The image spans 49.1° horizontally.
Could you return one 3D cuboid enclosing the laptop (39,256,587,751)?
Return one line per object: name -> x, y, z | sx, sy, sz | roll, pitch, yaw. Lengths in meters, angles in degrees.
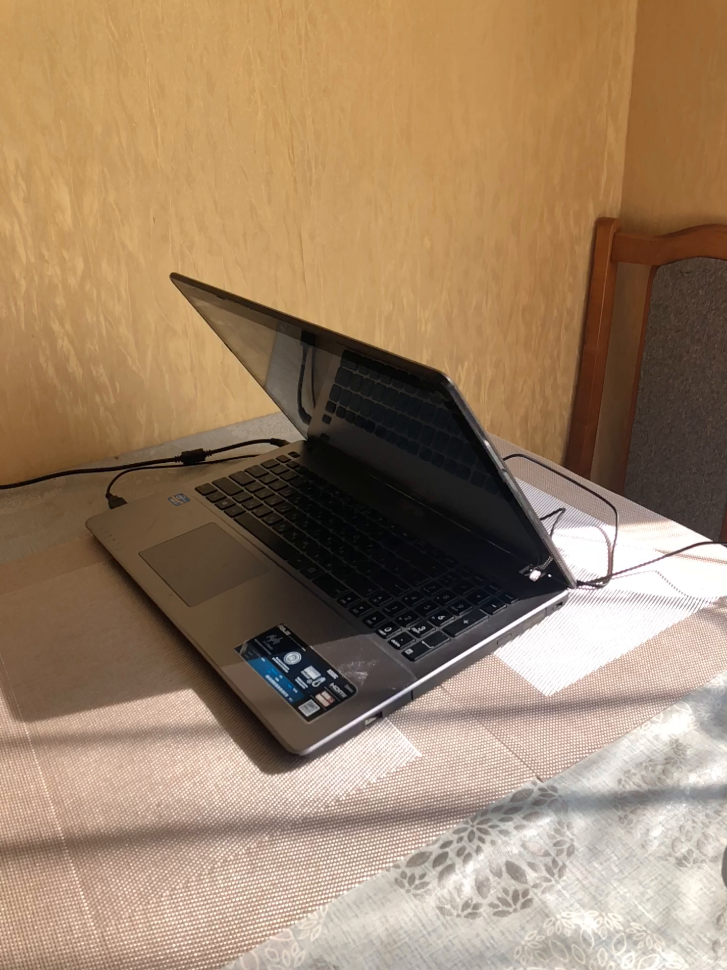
laptop -> -0.057, -0.030, 0.630 | 0.240, 0.197, 0.365 | -23, 33, -30
